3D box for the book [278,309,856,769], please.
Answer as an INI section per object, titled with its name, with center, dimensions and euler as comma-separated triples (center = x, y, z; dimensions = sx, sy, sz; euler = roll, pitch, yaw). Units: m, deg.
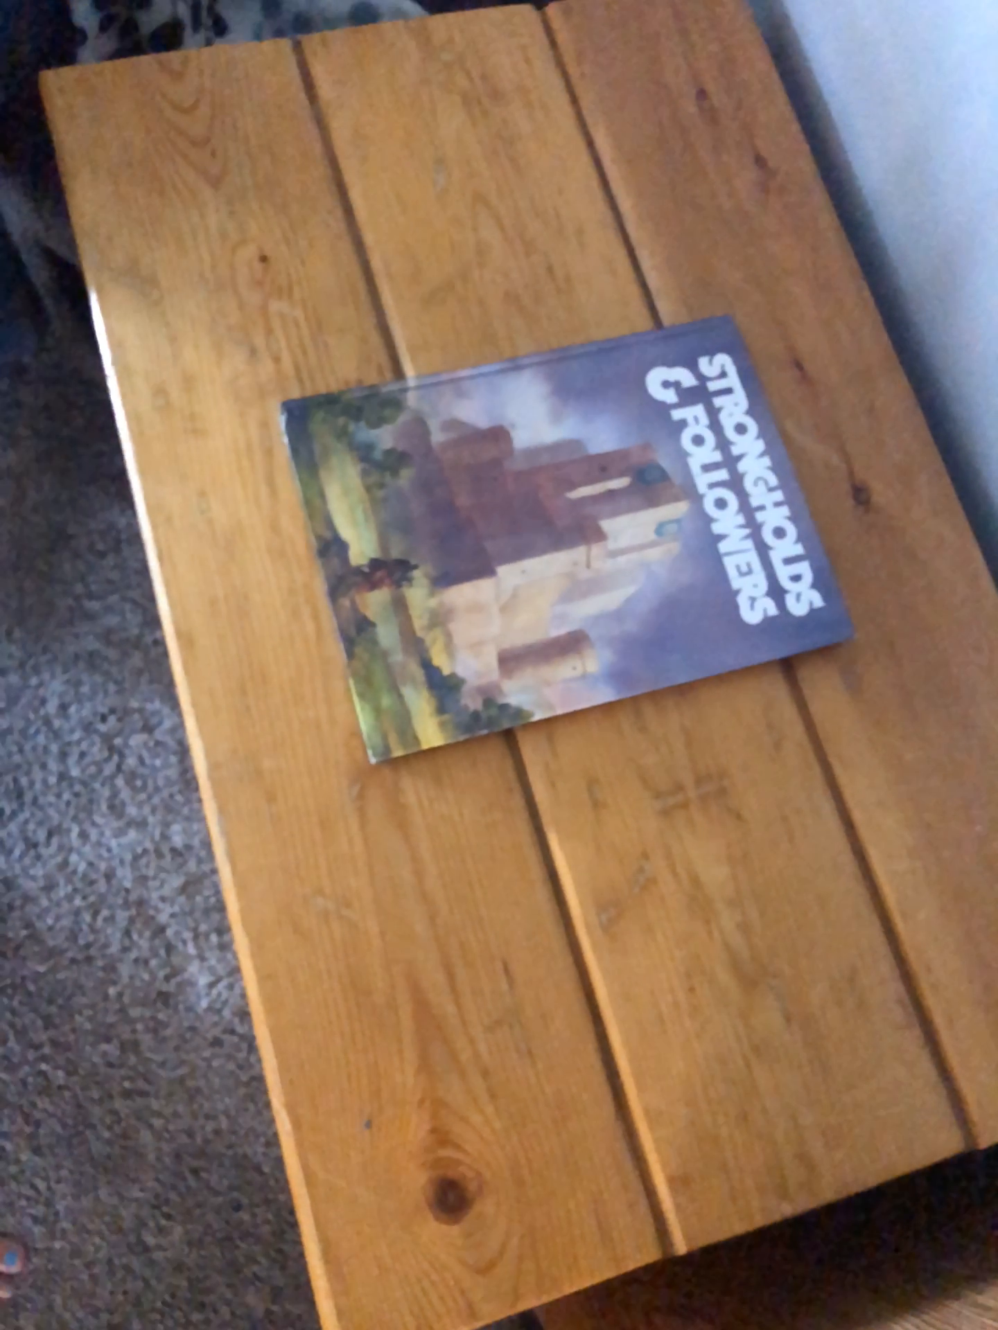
[book]
center = 0.036, -0.080, 0.648
dimensions = 0.281, 0.042, 0.212
euler = -14, 76, -9
